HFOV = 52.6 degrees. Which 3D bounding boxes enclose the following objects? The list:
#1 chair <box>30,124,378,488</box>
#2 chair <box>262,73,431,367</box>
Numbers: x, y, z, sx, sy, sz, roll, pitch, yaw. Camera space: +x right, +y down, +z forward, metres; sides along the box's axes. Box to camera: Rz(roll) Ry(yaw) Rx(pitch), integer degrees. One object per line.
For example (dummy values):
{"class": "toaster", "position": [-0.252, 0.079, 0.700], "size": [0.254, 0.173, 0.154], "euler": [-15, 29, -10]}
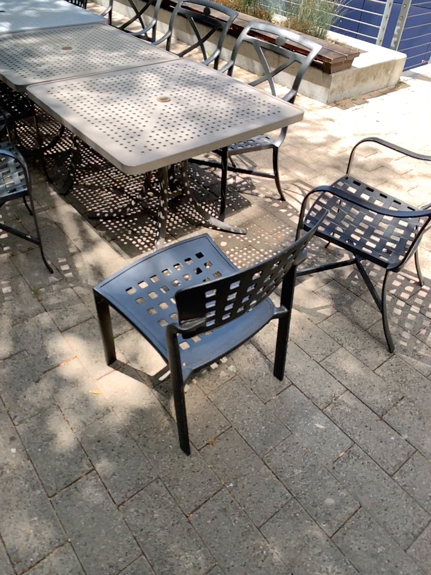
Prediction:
{"class": "chair", "position": [-0.047, 0.022, 1.366], "size": [0.621, 0.706, 0.653], "euler": [-32, 53, -31]}
{"class": "chair", "position": [0.653, -0.280, 1.685], "size": [0.651, 0.756, 0.622], "euler": [23, 47, 20]}
